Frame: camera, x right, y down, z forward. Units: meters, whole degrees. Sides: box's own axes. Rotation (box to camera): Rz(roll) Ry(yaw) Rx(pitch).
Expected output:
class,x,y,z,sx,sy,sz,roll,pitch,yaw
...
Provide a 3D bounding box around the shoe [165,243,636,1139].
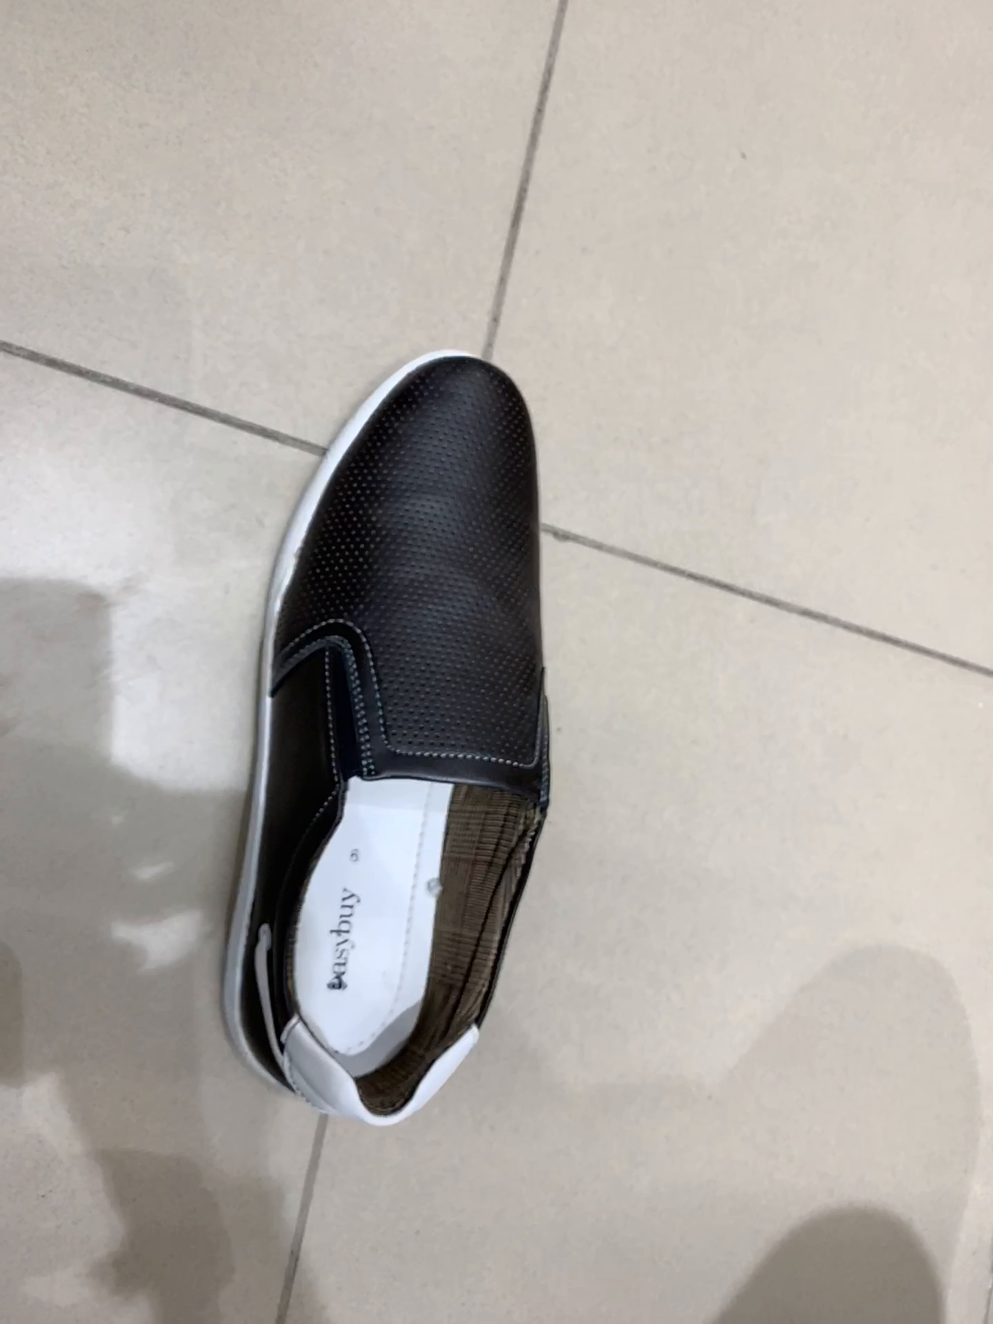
class,x,y,z,sx,sy,sz,roll,pitch,yaw
shoe,-0.038,0.014,0.403,0.110,0.090,0.300,12,83,-23
